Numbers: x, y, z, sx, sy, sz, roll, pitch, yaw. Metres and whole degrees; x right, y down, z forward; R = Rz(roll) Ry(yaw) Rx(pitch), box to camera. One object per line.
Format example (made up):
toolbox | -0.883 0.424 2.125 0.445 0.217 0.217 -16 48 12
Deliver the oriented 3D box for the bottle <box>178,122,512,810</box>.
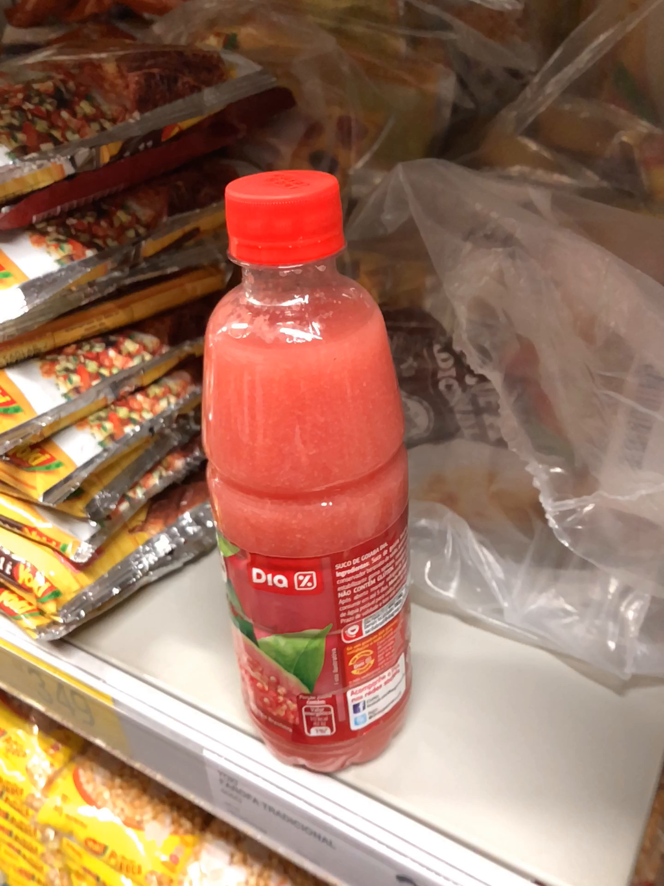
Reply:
bottle | 0.005 0.019 0.250 0.070 0.218 0.071 -3 33 2
